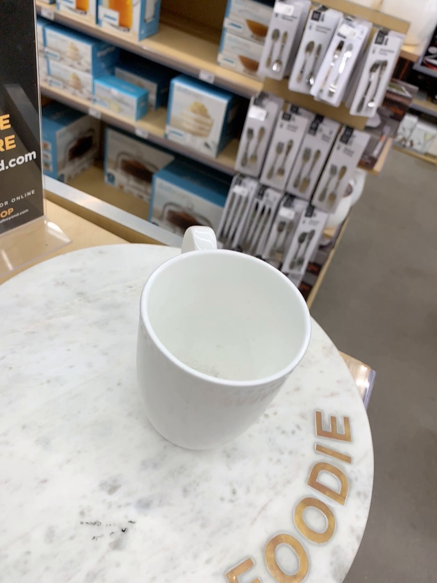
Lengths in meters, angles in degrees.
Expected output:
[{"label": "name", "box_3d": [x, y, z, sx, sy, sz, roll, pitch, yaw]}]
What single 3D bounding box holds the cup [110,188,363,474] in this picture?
[{"label": "cup", "box_3d": [-0.005, 0.016, 0.265, 0.096, 0.093, 0.125, -5, 49, -19]}]
